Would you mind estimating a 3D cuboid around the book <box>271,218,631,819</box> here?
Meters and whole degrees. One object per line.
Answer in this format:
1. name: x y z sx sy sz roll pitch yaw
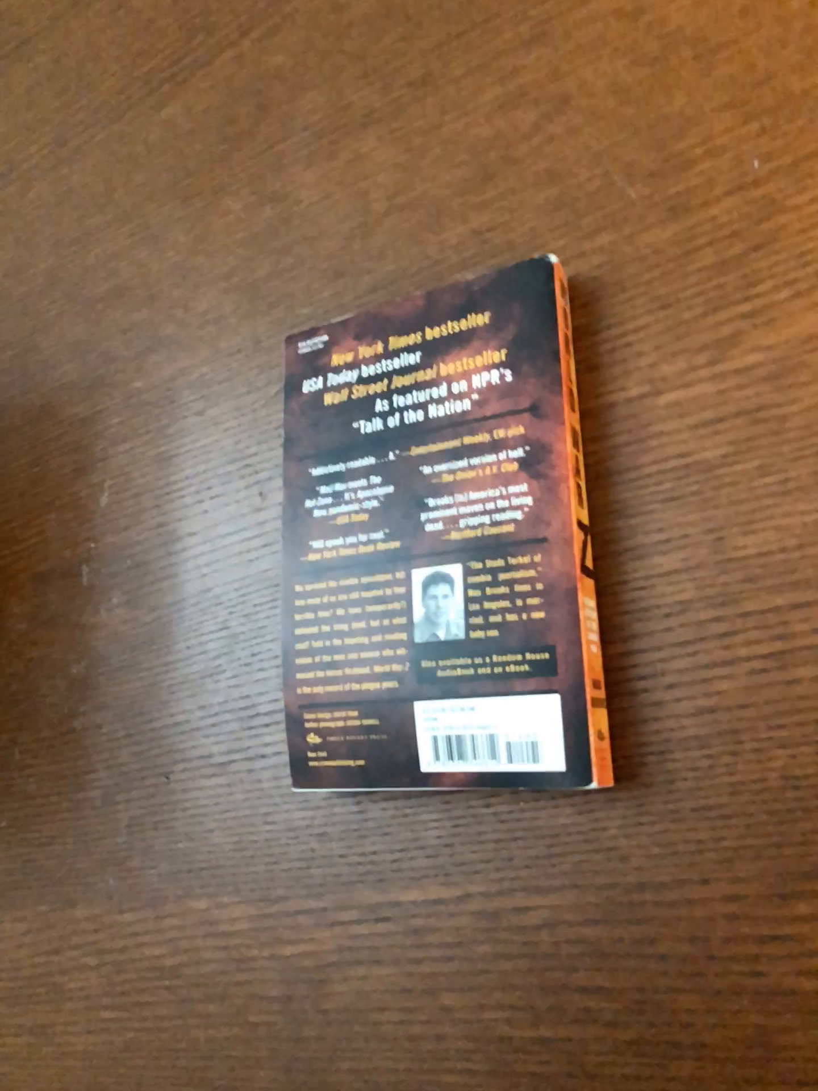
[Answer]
1. book: 0.009 -0.006 0.367 0.140 0.030 0.220 -8 76 30
